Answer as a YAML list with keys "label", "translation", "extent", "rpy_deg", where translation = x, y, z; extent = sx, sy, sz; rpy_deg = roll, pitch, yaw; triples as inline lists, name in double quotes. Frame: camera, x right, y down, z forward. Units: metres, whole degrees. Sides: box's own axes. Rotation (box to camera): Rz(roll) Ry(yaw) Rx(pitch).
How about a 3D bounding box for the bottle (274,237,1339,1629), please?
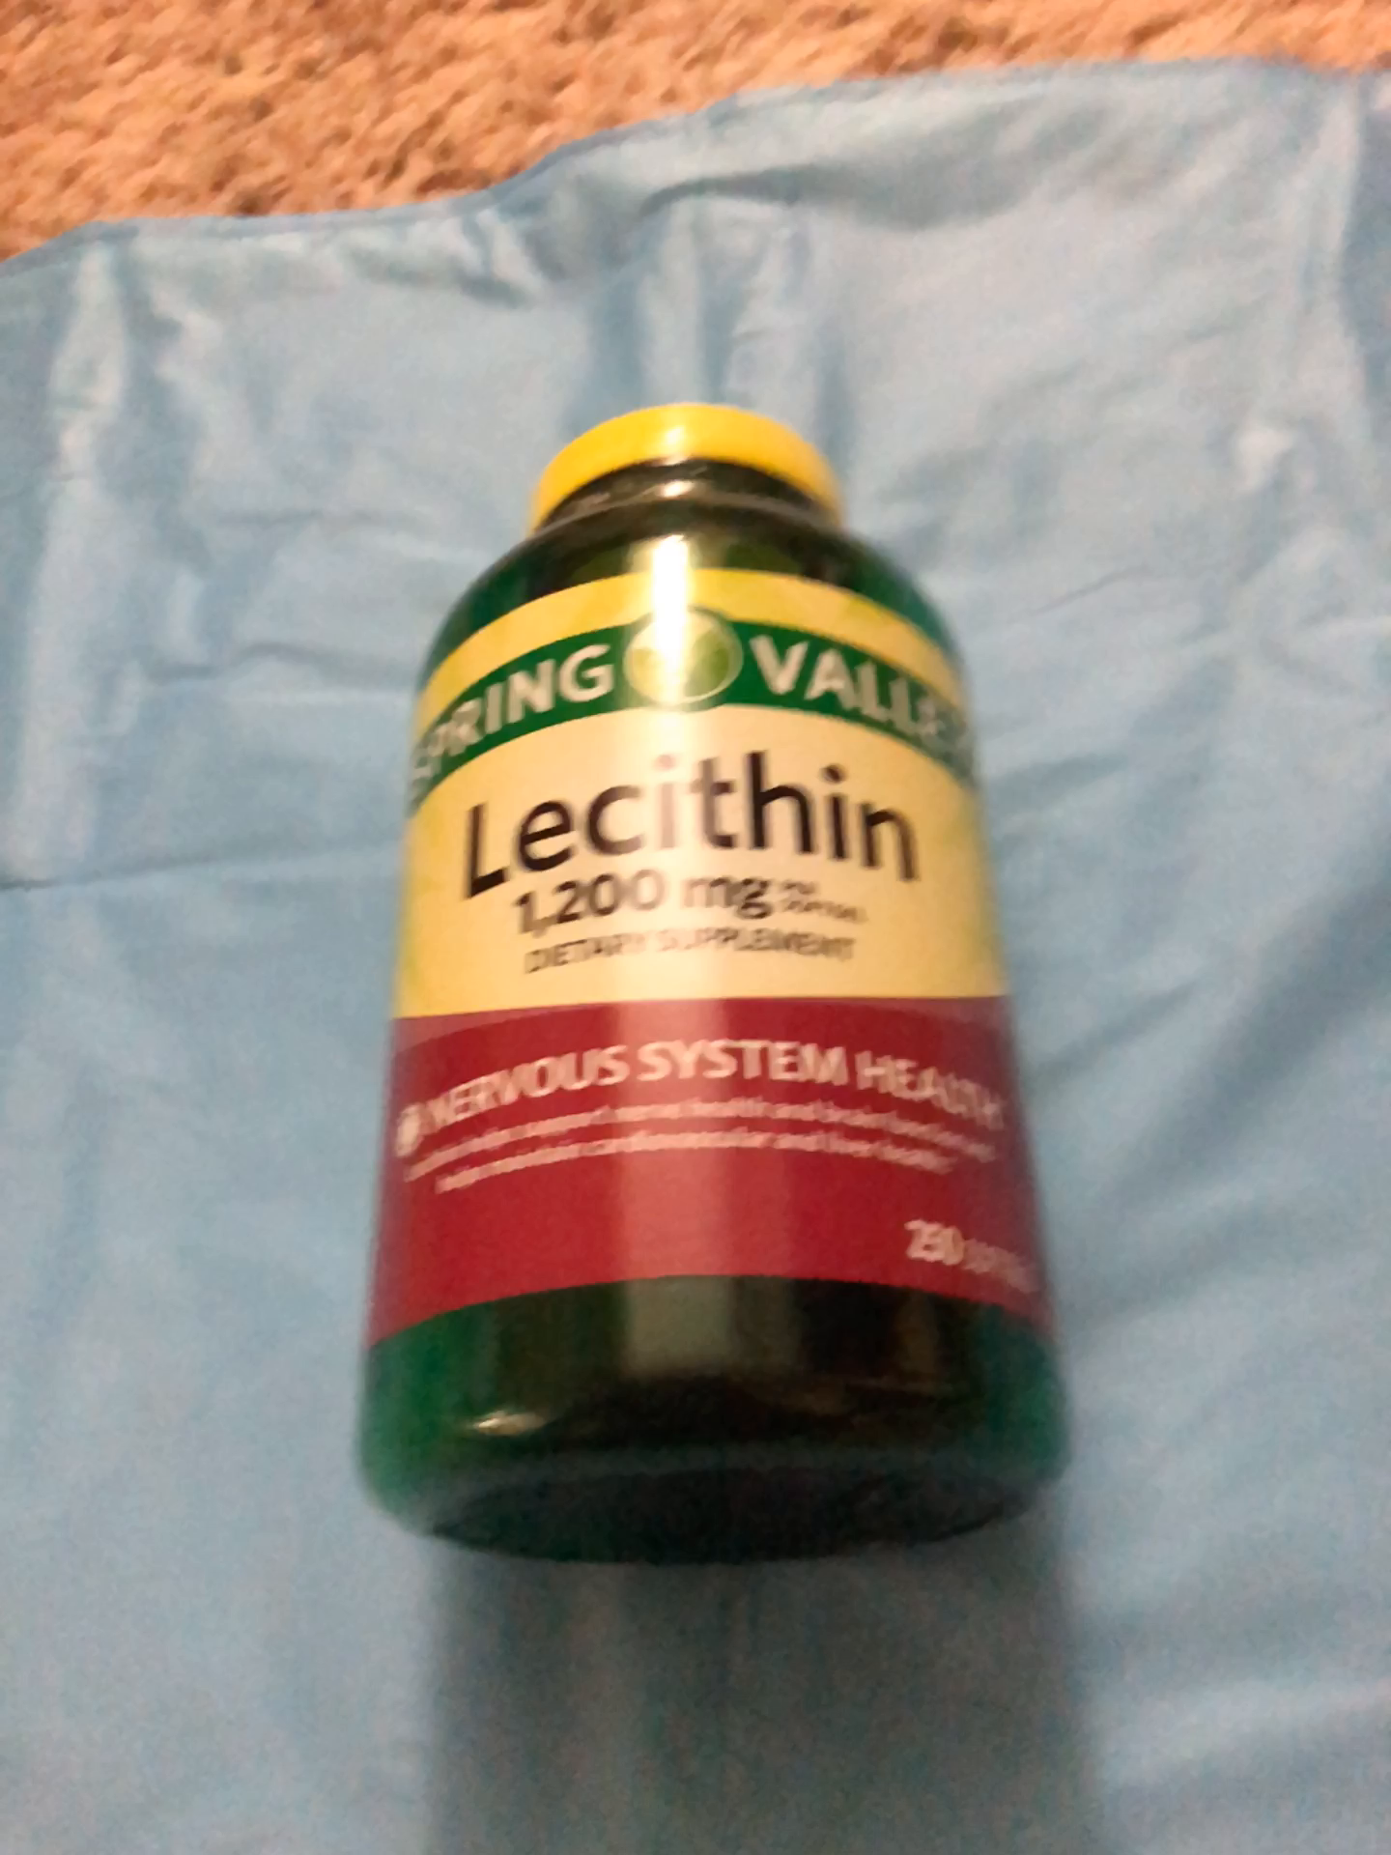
- label: "bottle"
  translation: [0.015, 0.003, 0.226]
  extent: [0.100, 0.090, 0.170]
  rpy_deg: [-6, 61, 9]
